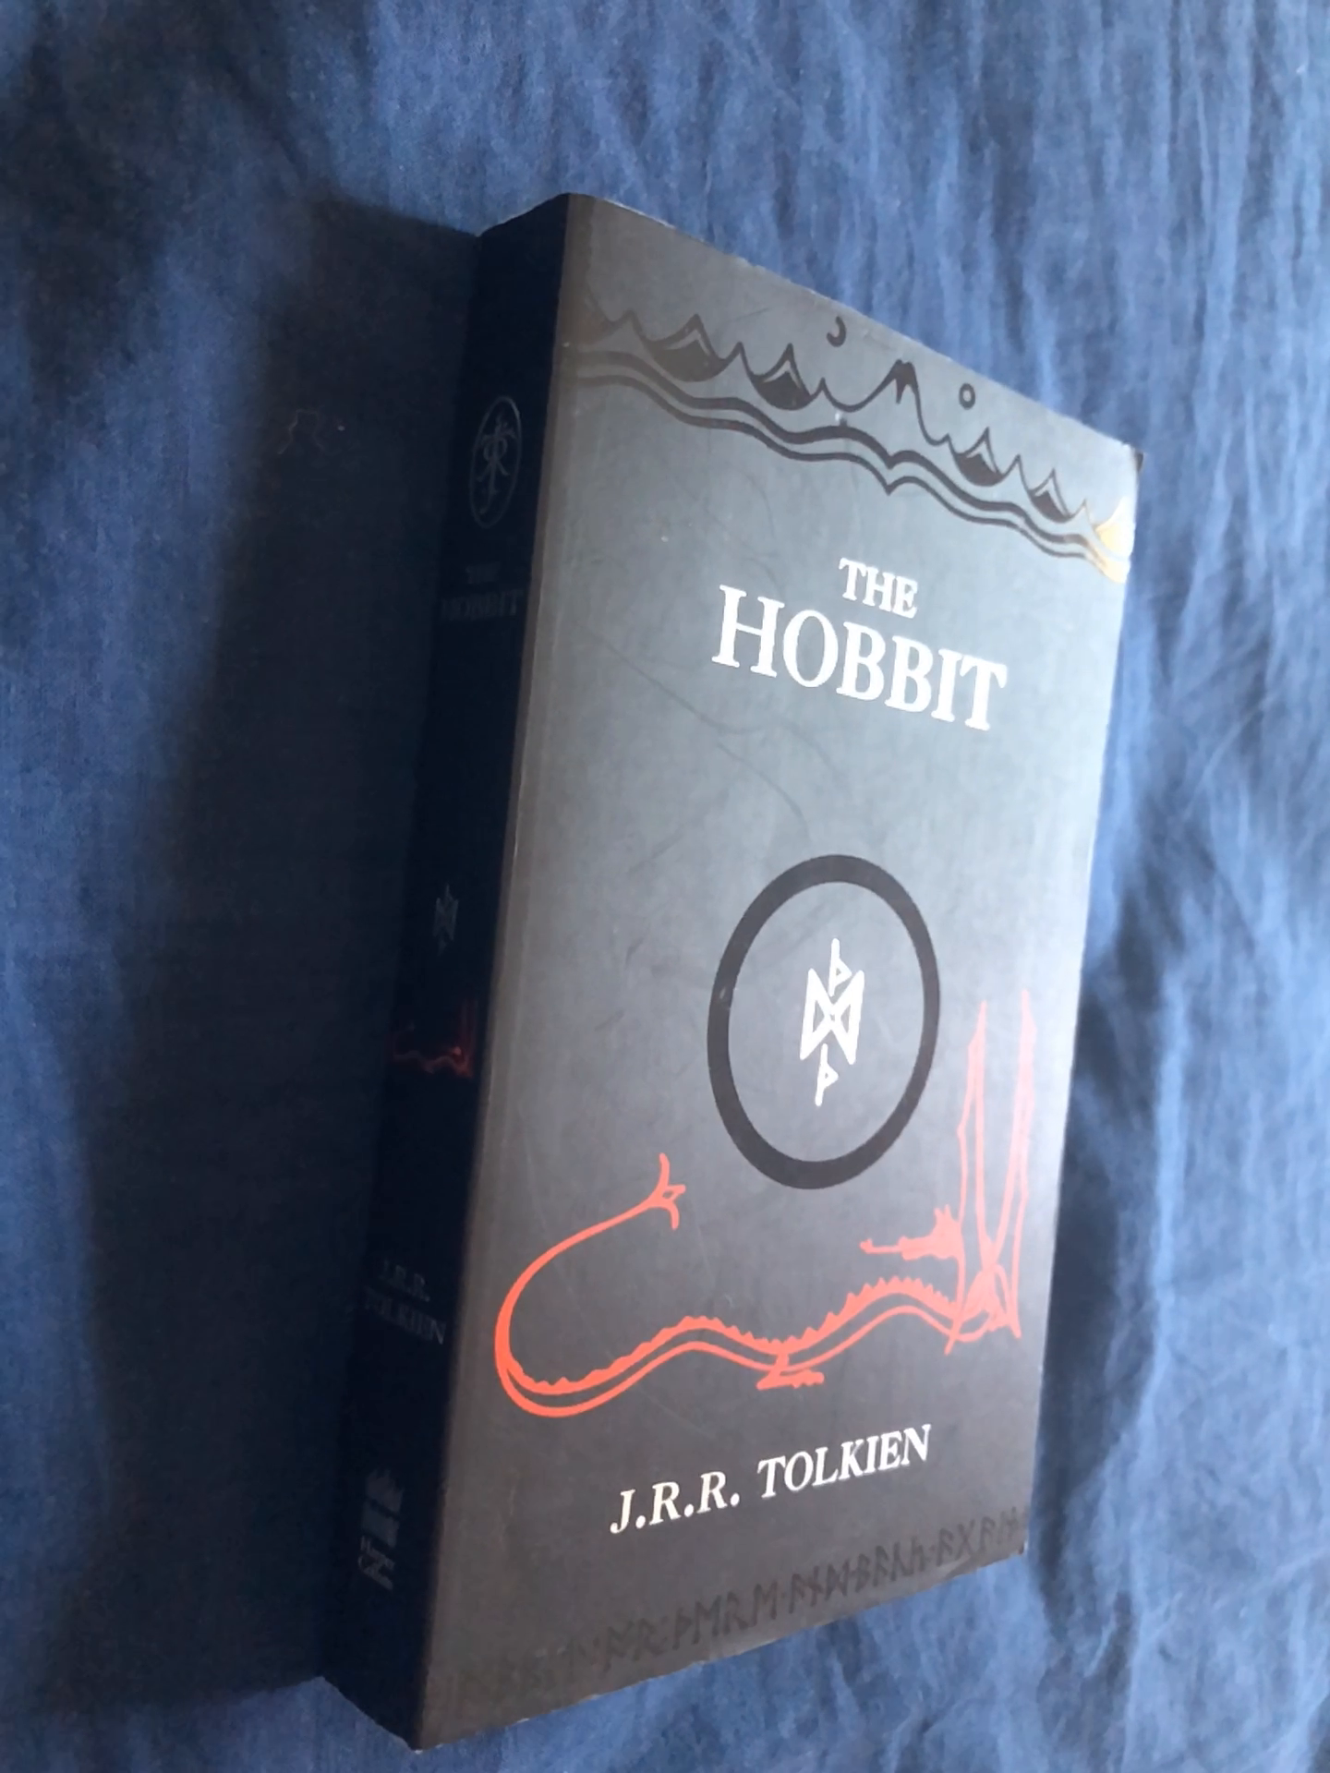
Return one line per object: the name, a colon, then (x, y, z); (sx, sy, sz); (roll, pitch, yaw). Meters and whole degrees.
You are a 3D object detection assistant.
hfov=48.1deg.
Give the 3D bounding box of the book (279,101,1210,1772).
book: (0.020, 0.012, 0.208); (0.120, 0.040, 0.180); (7, 88, -41)
